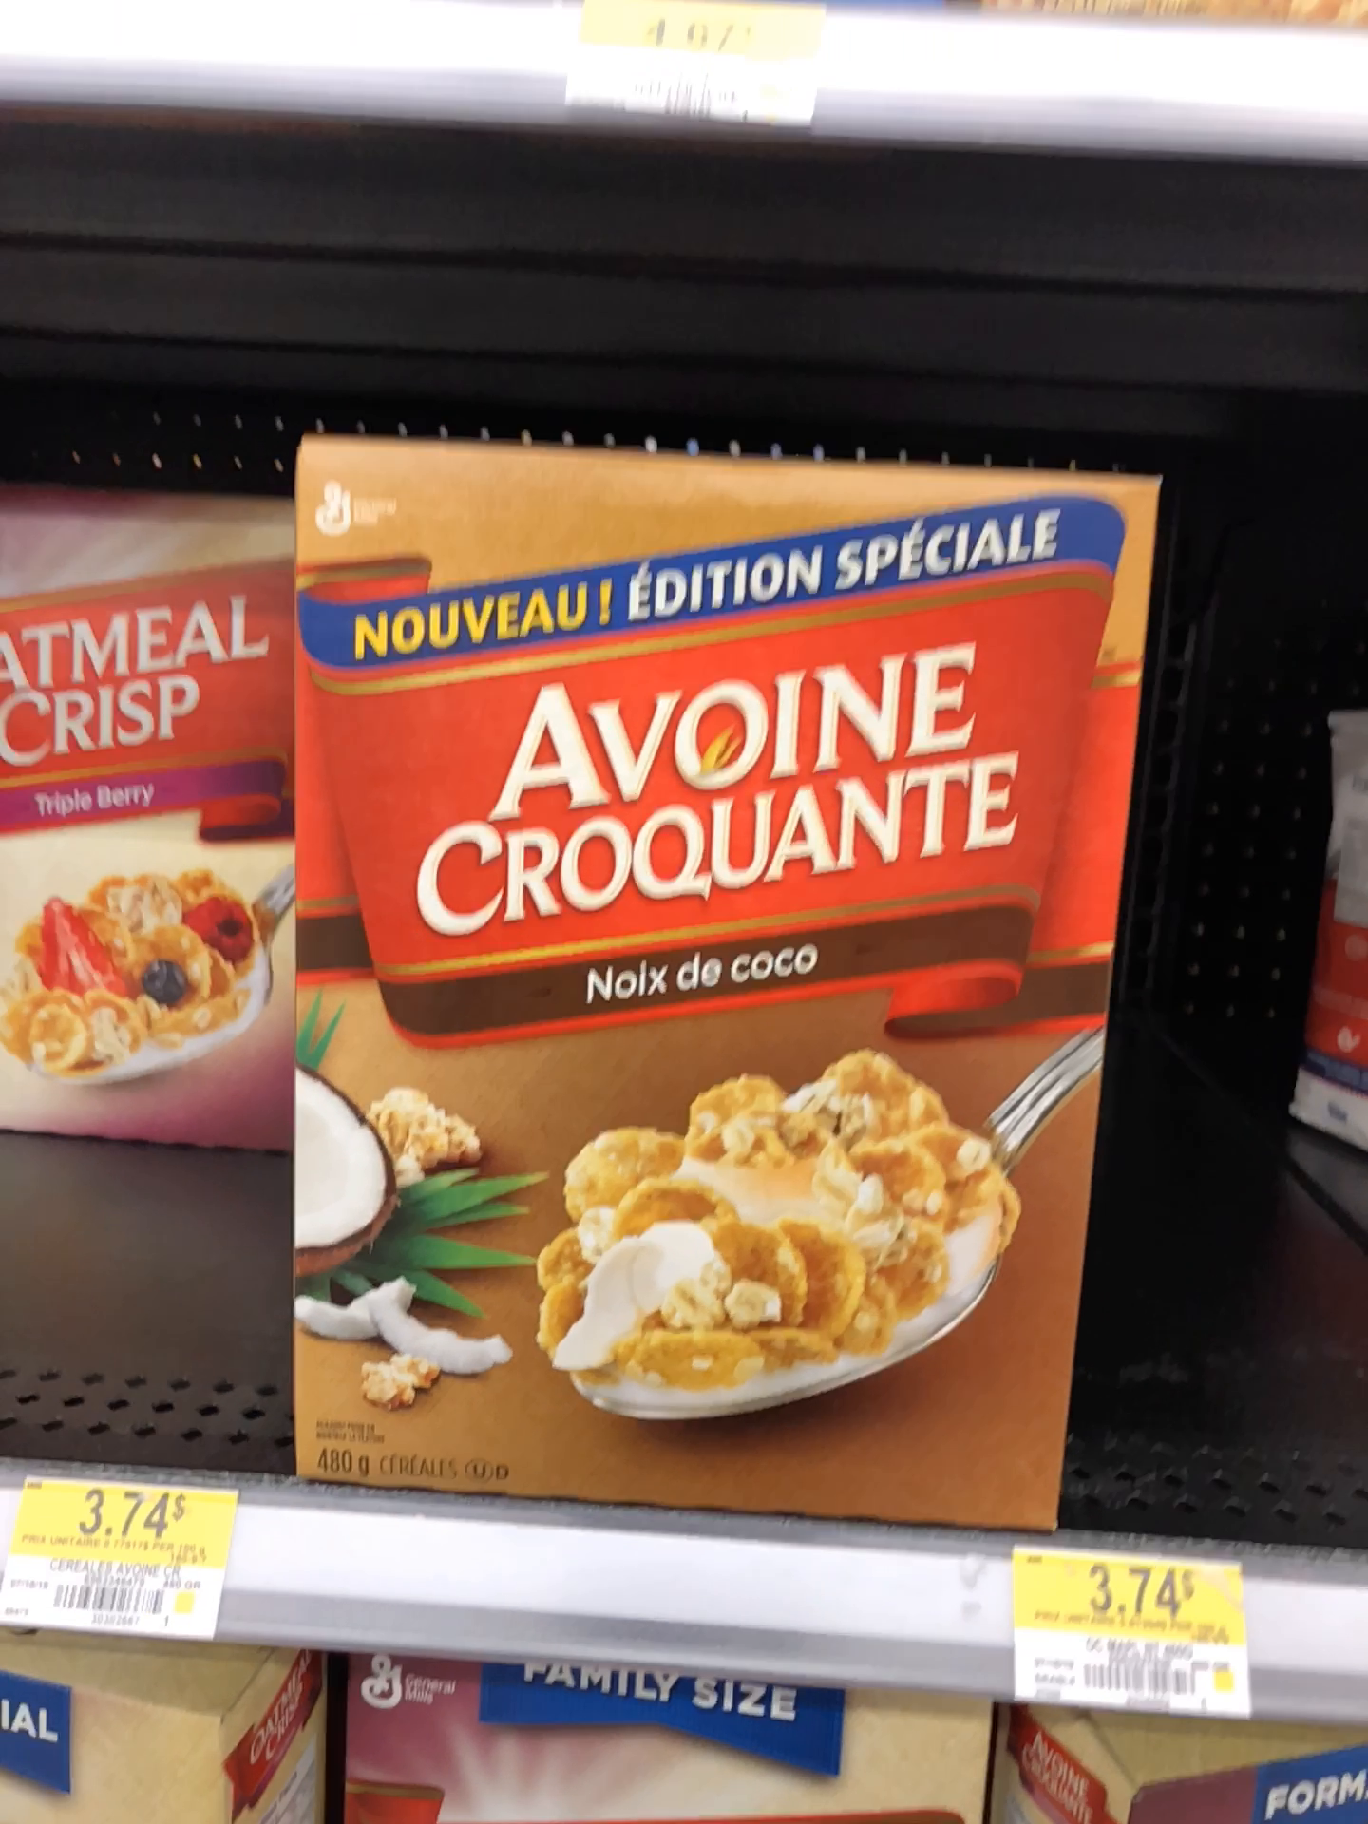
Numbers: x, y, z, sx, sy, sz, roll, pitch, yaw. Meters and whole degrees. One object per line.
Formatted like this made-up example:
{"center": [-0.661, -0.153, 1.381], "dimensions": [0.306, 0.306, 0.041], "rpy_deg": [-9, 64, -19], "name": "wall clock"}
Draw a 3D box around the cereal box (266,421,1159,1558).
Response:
{"center": [0.000, 0.022, 0.390], "dimensions": [0.200, 0.269, 0.050], "rpy_deg": [4, 10, 2], "name": "cereal box"}
